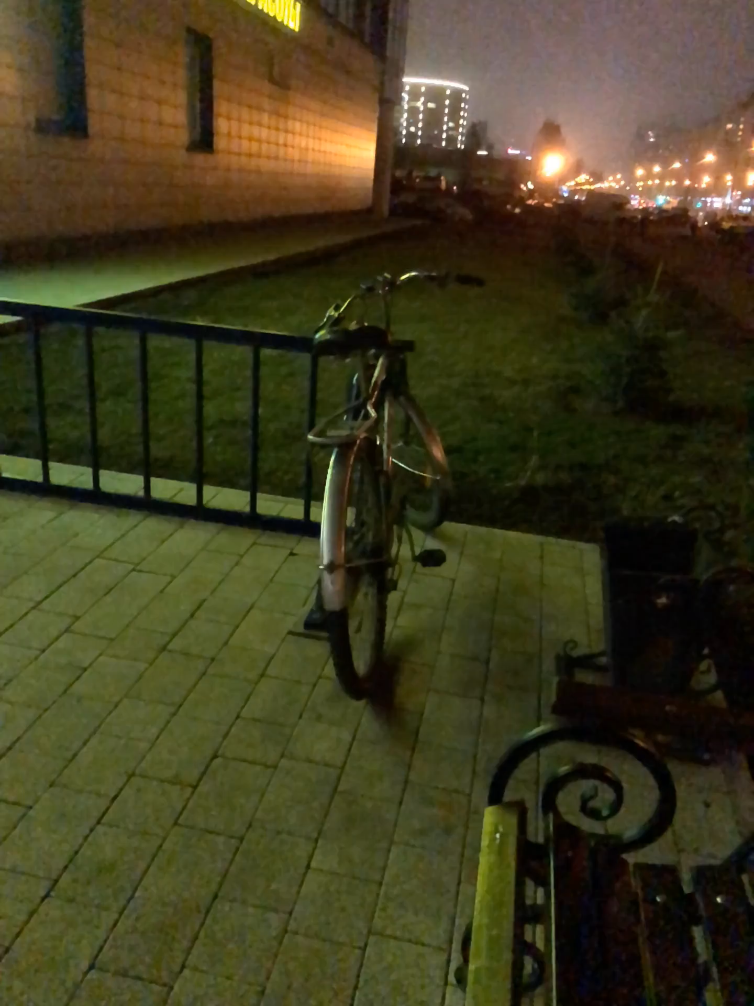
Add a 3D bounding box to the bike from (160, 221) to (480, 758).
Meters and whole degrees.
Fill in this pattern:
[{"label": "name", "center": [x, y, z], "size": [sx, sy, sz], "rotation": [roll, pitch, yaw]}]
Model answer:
[{"label": "bike", "center": [-0.153, -0.253, 2.682], "size": [0.679, 1.047, 1.726], "rotation": [4, 23, 0]}]
